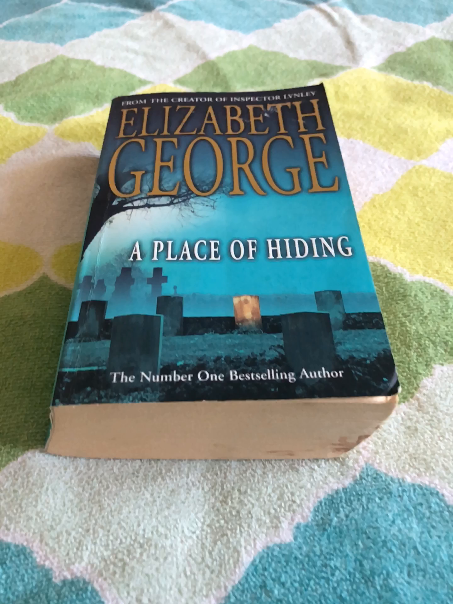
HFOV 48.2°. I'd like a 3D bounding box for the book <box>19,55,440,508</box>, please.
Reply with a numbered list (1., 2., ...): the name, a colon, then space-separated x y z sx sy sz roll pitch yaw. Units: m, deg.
1. book: -0.005 -0.021 0.243 0.130 0.070 0.211 1 56 -7
